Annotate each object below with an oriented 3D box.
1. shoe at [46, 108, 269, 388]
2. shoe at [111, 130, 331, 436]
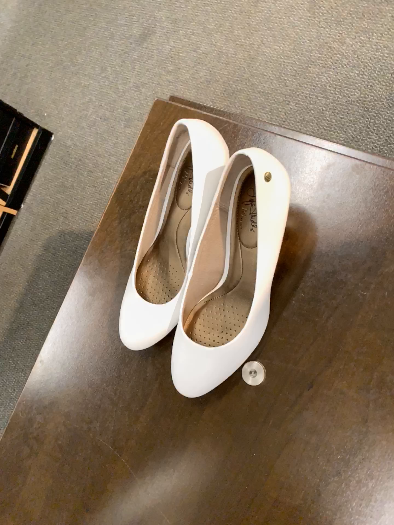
[{"bbox_3d":[-0.036,-0.010,0.437,0.090,0.110,0.260,30,94,25],"label":"shoe"},{"bbox_3d":[0.031,0.021,0.410,0.090,0.110,0.260,26,93,25],"label":"shoe"}]
